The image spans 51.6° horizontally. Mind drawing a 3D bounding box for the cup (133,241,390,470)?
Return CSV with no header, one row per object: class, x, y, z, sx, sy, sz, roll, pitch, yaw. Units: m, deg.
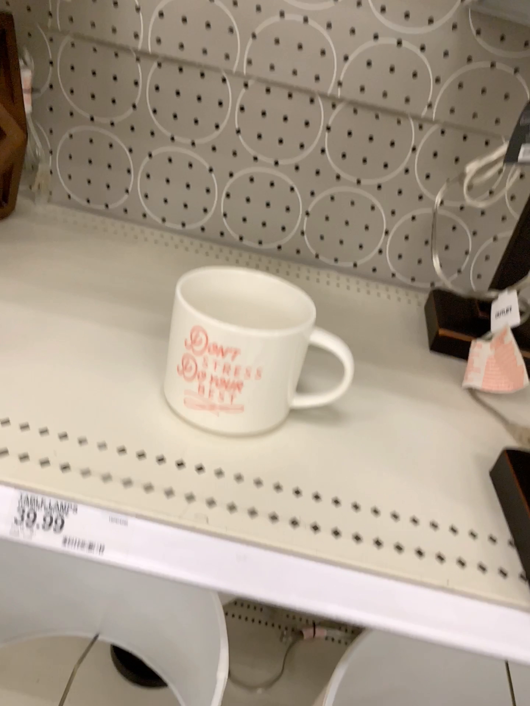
cup,0.000,-0.003,0.388,0.150,0.090,0.101,14,31,2
